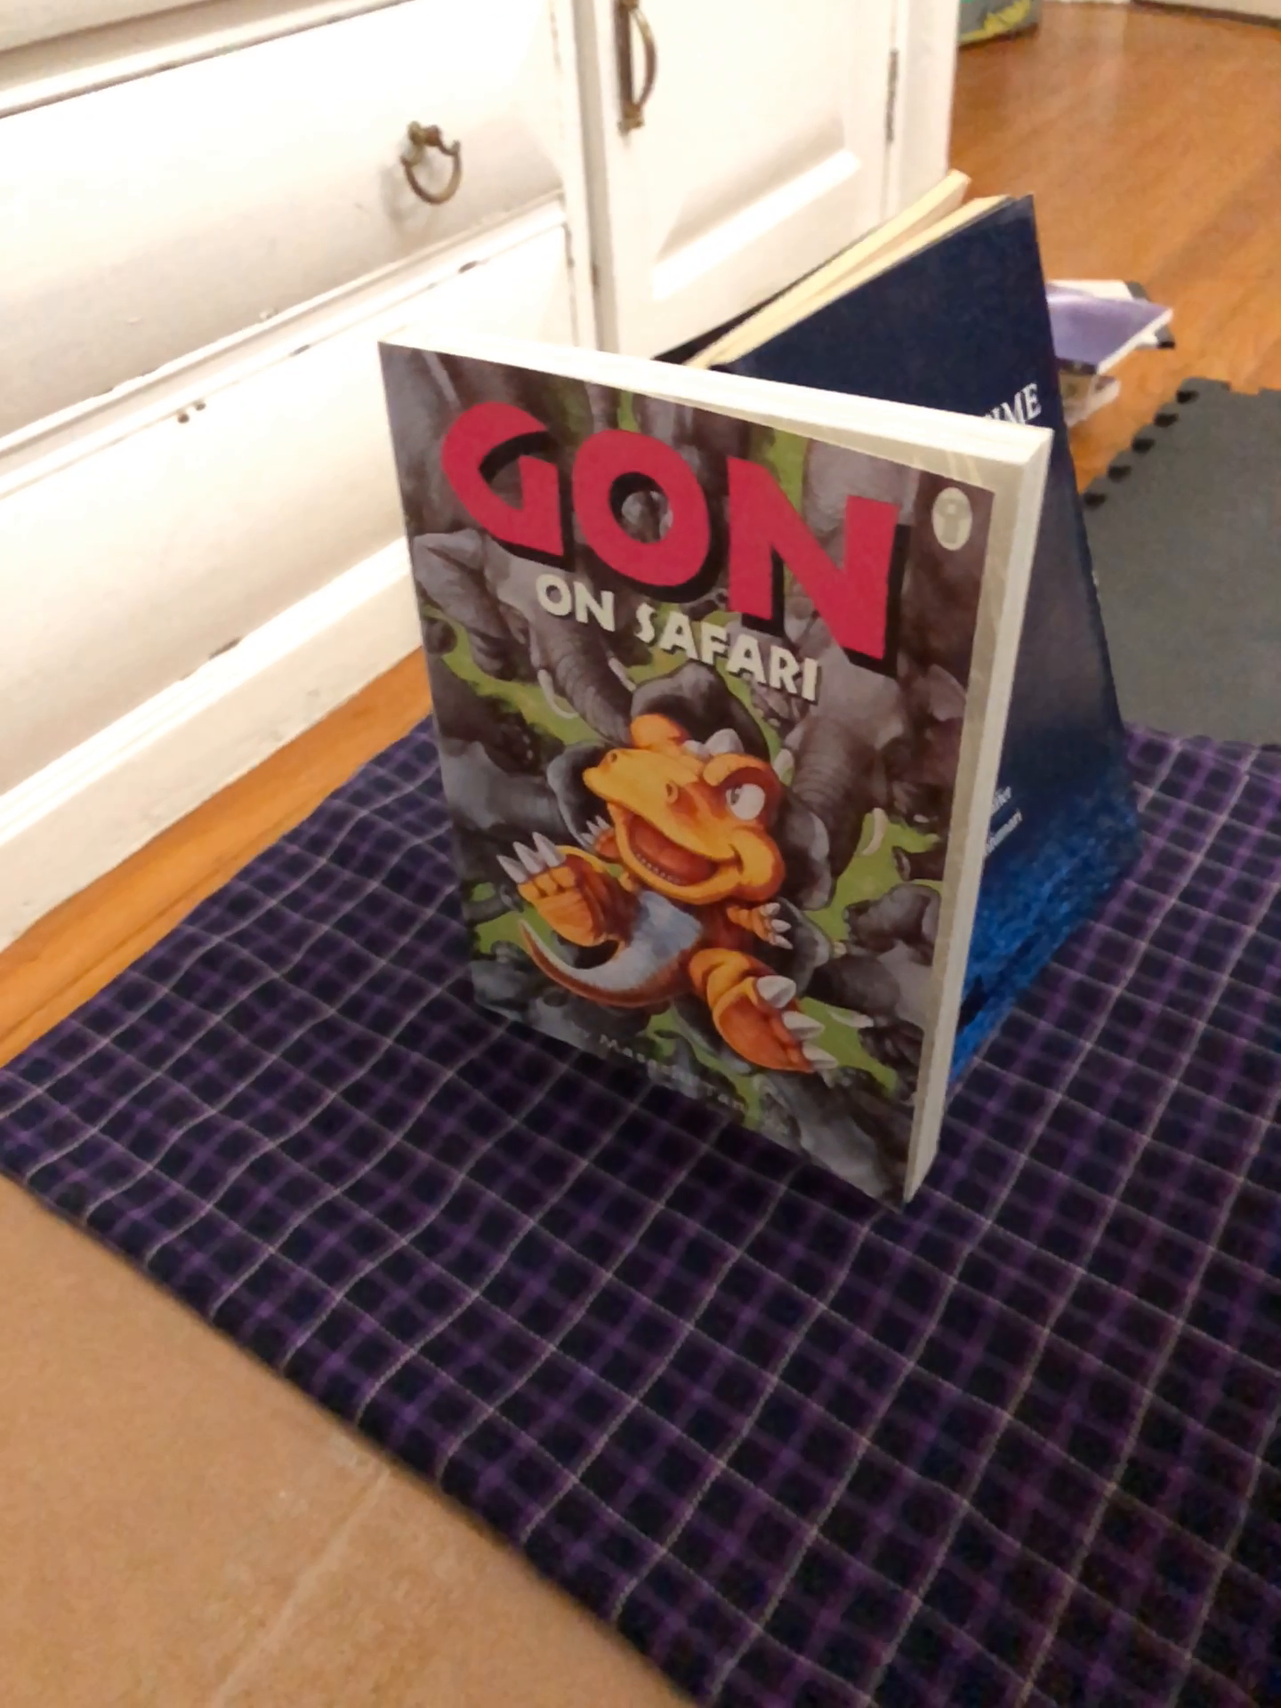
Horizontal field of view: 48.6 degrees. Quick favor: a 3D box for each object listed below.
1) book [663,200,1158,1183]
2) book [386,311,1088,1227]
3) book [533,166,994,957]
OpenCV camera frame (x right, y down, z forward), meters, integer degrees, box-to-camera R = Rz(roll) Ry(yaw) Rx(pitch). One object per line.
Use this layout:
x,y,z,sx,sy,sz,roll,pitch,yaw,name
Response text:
0.084,-0.043,0.361,0.010,0.199,0.151,3,34,41,book
0.013,-0.014,0.323,0.140,0.189,0.020,19,38,25,book
0.029,-0.074,0.399,0.010,0.199,0.141,33,51,12,book
